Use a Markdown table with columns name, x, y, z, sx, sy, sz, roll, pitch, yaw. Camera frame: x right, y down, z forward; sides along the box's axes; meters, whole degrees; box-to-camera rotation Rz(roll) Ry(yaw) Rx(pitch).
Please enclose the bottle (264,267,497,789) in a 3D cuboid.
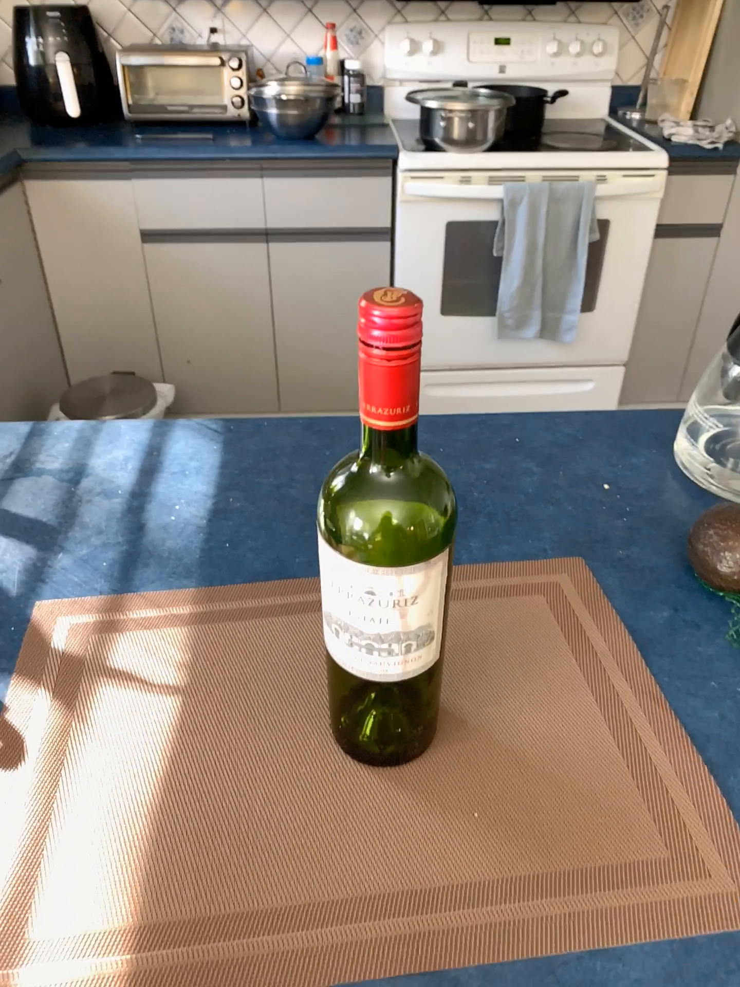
| name | x | y | z | sx | sy | sz | roll | pitch | yaw |
| --- | --- | --- | --- | --- | --- | --- | --- | --- | --- |
| bottle | 0.007 | 0.031 | 0.417 | 0.080 | 0.277 | 0.081 | 0 | 34 | 0 |
